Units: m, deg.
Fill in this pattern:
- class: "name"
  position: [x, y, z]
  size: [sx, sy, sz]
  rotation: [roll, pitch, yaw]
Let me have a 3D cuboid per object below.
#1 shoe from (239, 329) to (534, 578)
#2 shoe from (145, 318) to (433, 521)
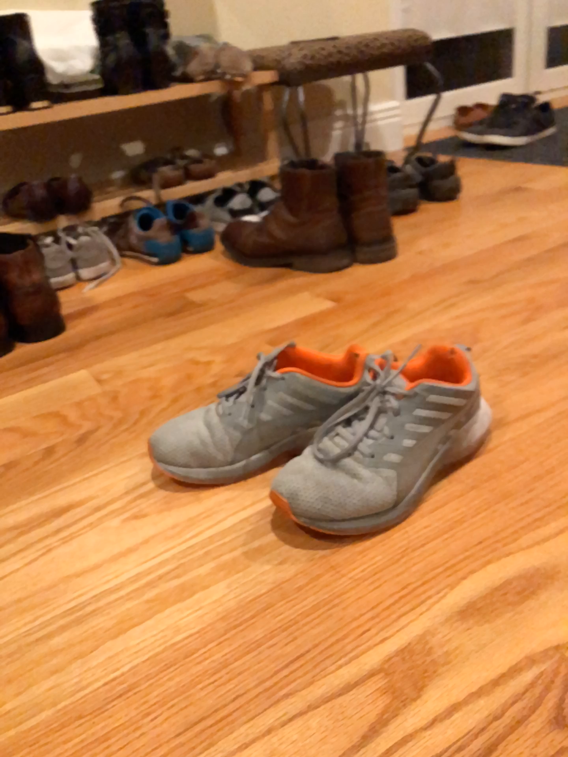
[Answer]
- class: "shoe"
  position: [0.098, 0.049, 0.557]
  size: [0.251, 0.080, 0.110]
  rotation: [-27, 33, -31]
- class: "shoe"
  position: [0.006, 0.033, 0.611]
  size: [0.250, 0.099, 0.100]
  rotation: [-14, 28, -11]
